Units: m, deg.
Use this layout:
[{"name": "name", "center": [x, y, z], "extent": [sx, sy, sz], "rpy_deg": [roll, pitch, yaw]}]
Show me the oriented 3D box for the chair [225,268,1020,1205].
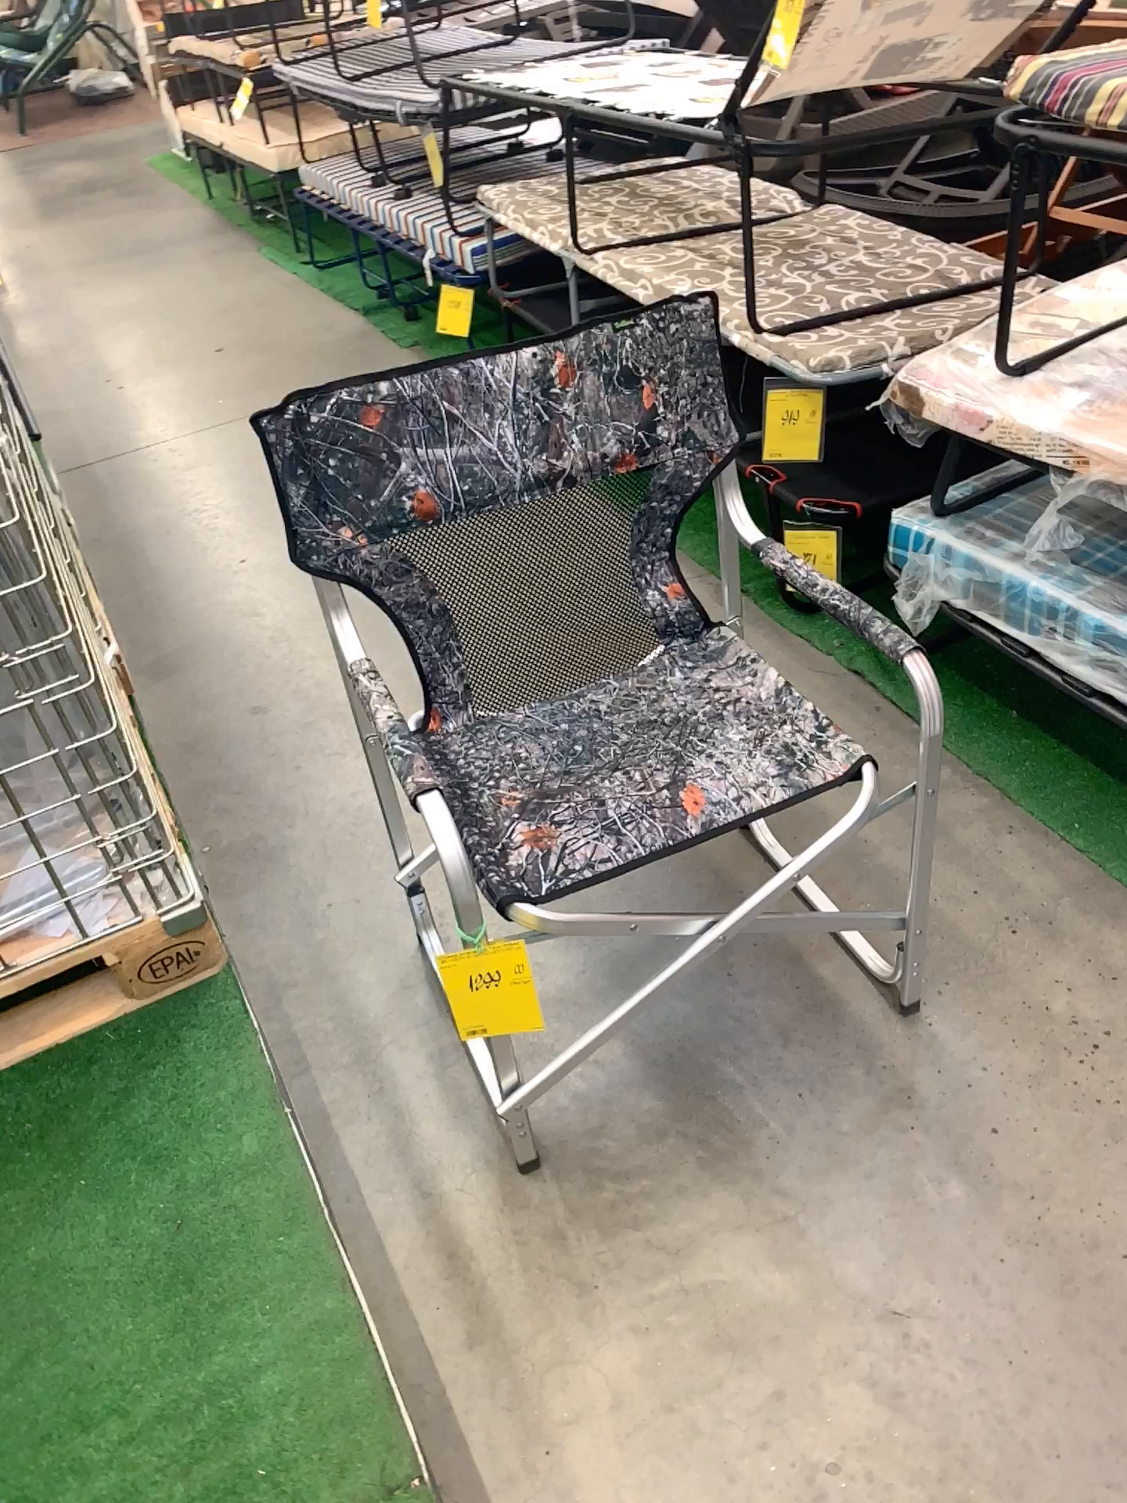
[{"name": "chair", "center": [0.059, -0.040, 1.459], "extent": [0.650, 0.836, 0.613], "rpy_deg": [-19, 38, -12]}]
